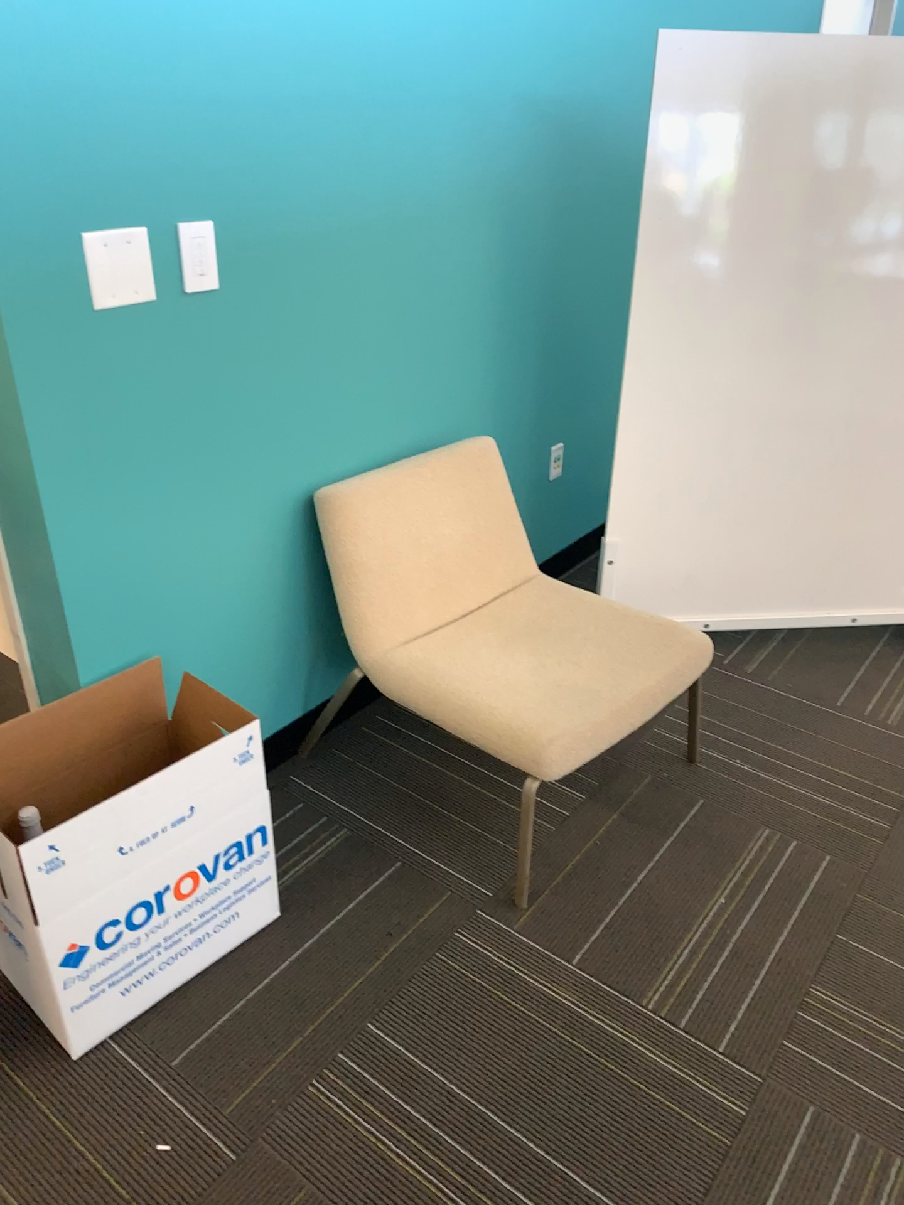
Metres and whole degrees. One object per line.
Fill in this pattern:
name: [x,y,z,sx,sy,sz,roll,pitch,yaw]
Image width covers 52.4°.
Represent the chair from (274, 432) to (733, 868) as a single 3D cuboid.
chair: [0.107,0.038,2.103,0.733,0.567,0.661,24,36,36]
